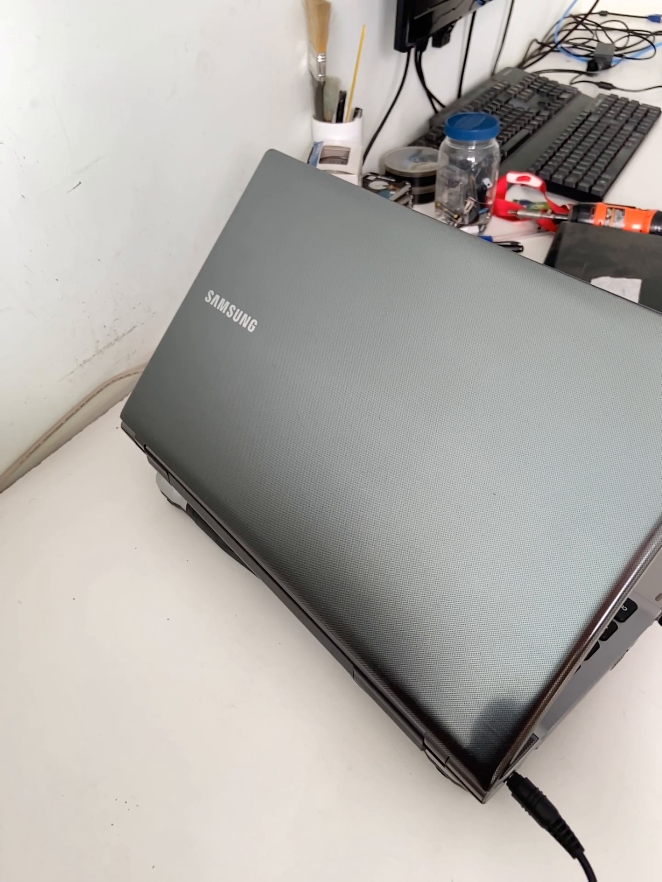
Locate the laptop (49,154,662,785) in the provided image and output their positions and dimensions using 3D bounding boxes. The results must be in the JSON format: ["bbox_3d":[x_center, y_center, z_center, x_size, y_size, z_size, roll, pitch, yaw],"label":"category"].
[{"bbox_3d":[0.034,-0.033,0.429,0.231,0.164,0.359,-29,48,-31],"label":"laptop"}]
